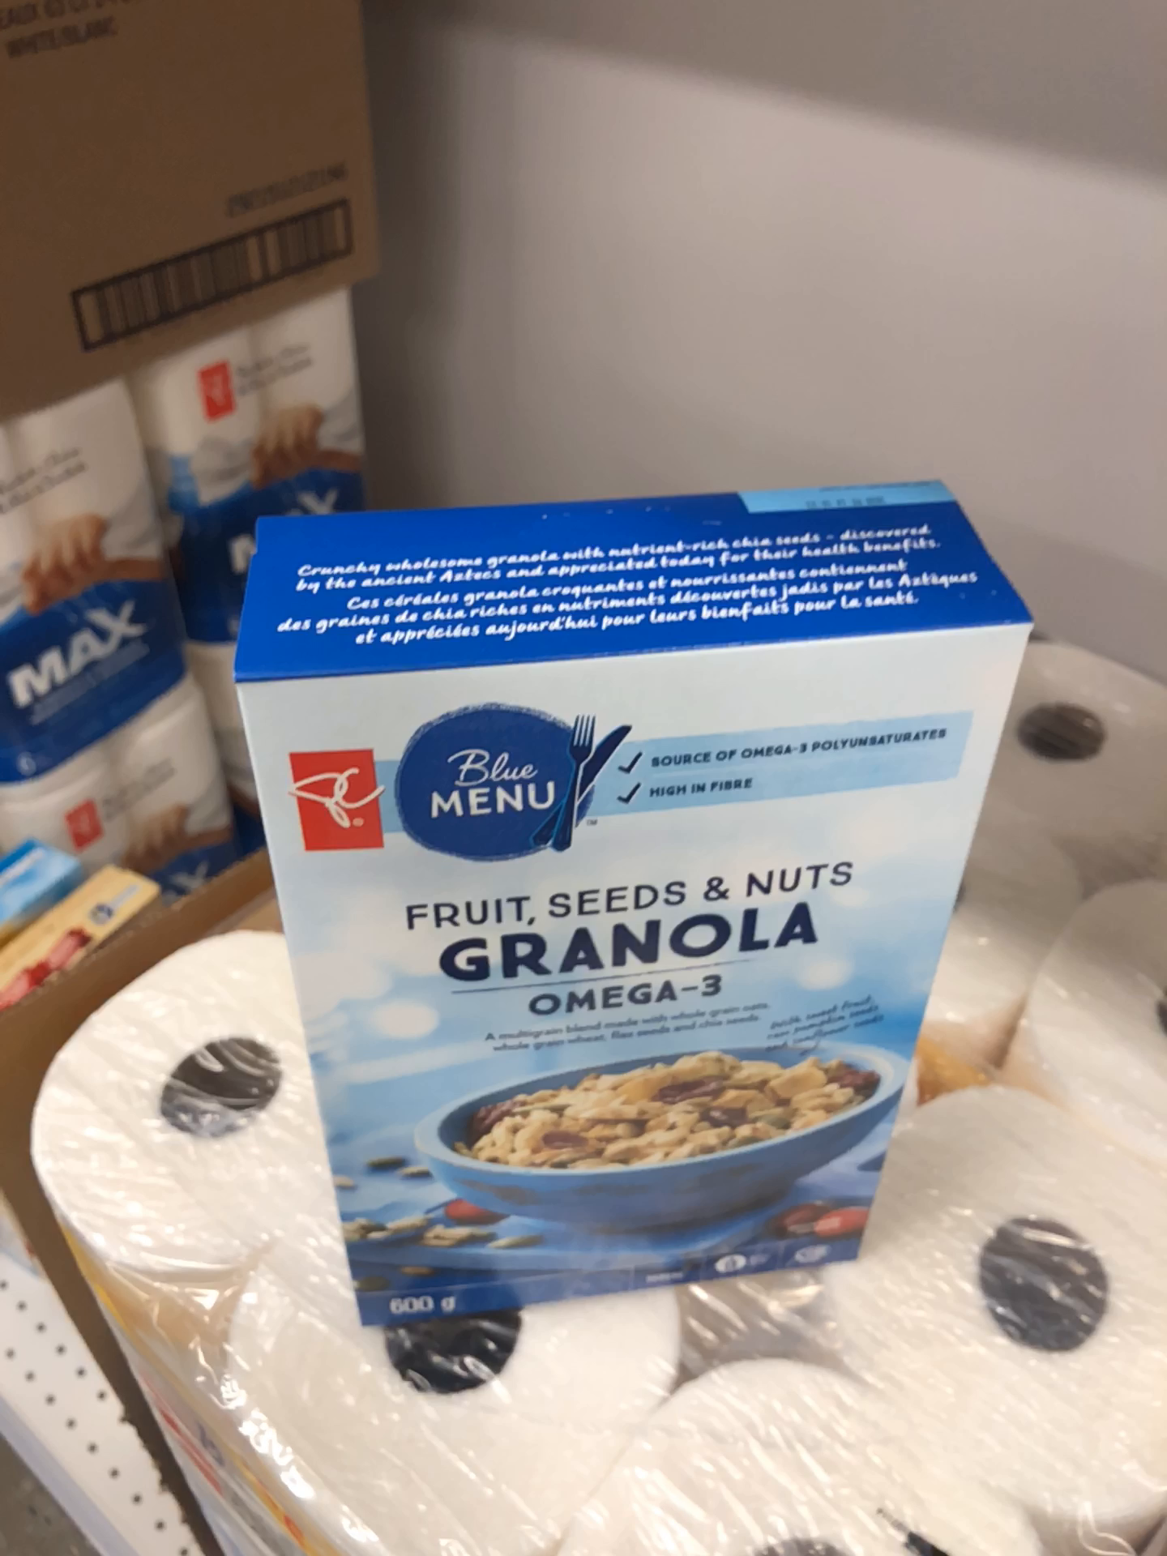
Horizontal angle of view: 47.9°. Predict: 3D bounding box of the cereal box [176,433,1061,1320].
[{"bbox_3d":[0.005,0.041,0.335,0.160,0.239,0.060,-4,40,-5],"label":"cereal box"}]
